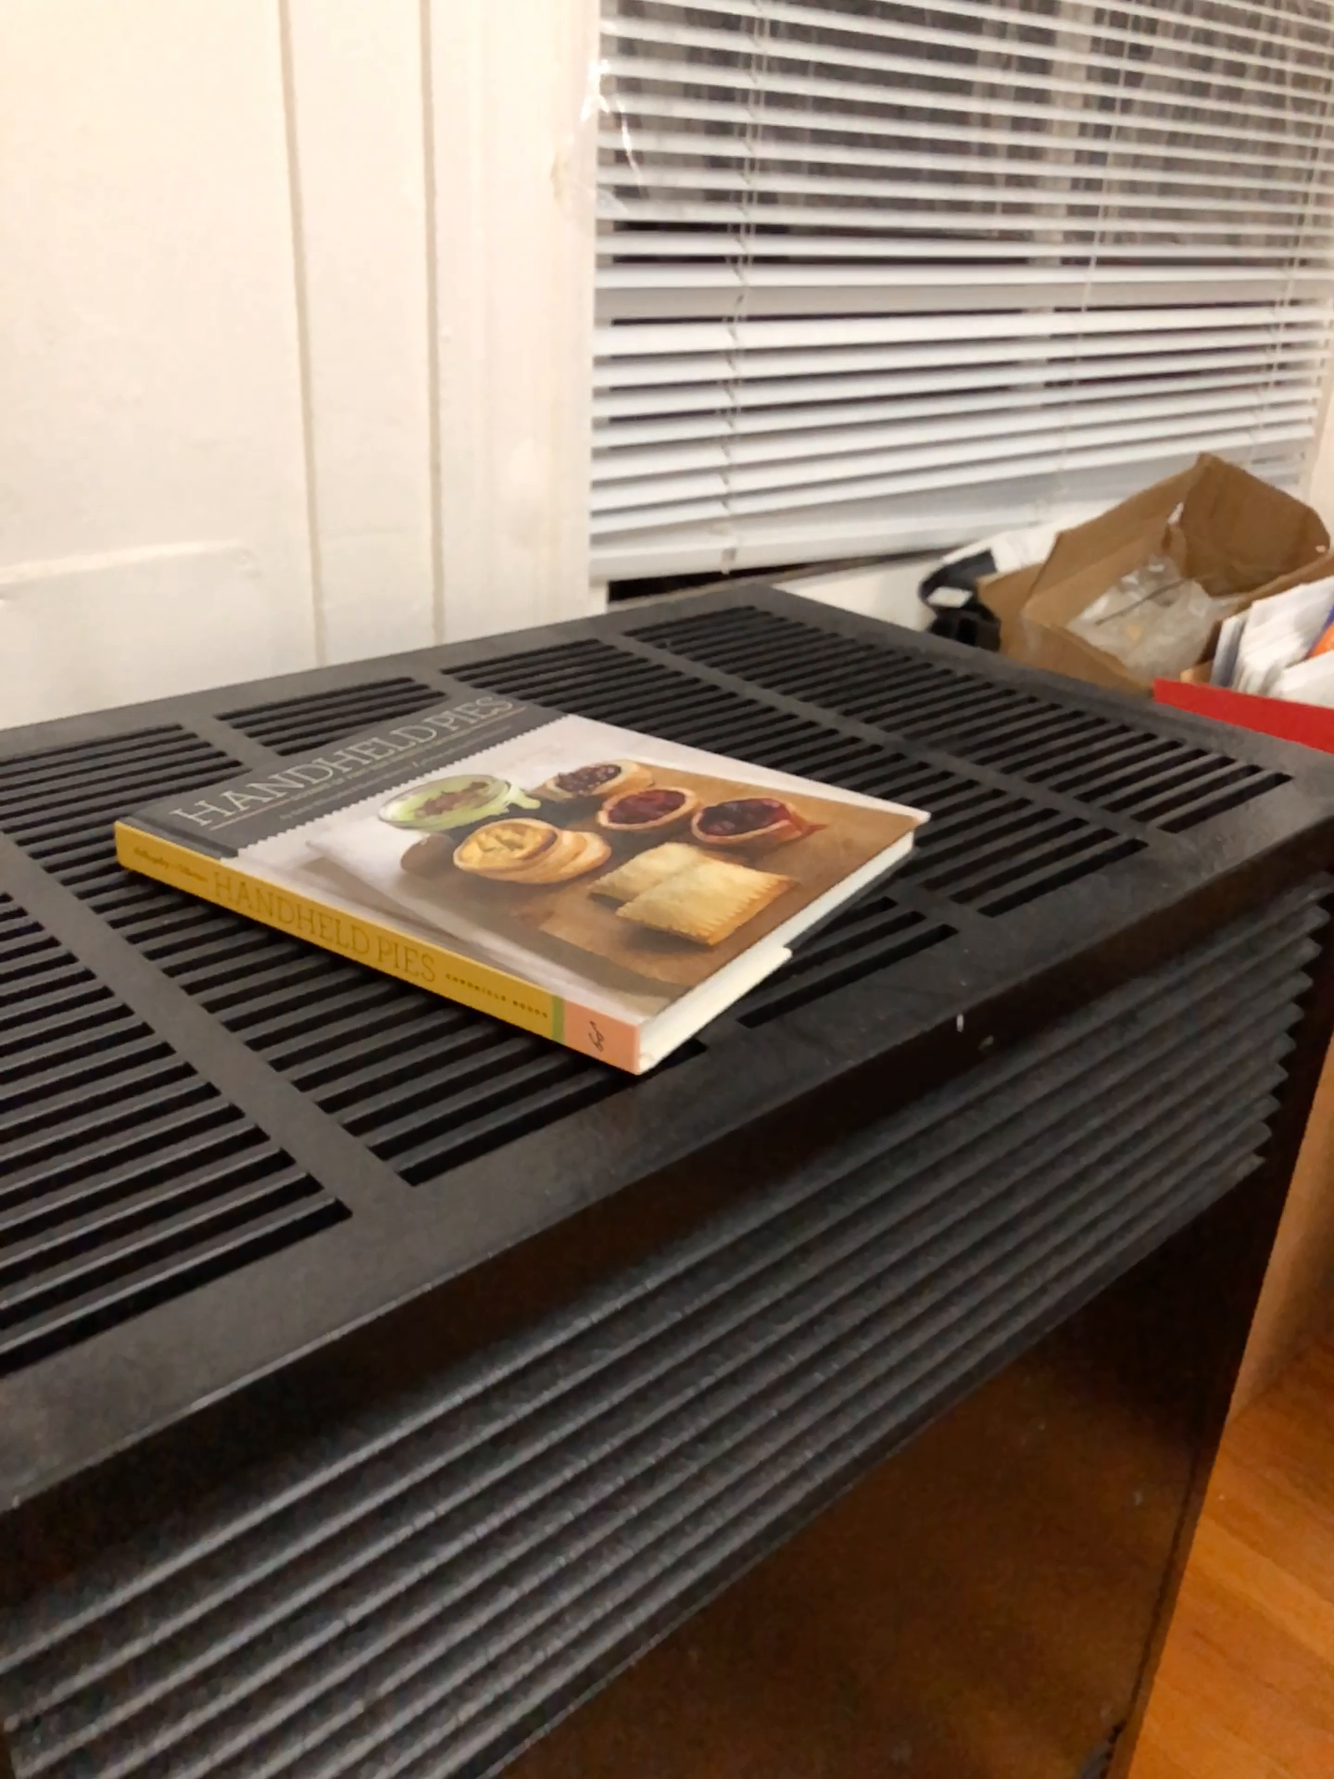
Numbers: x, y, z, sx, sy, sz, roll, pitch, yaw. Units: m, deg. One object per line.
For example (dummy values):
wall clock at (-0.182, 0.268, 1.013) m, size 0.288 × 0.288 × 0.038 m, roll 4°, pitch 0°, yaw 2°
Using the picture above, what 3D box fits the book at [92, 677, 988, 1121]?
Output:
book at (-0.037, -0.016, 0.506) m, size 0.230 × 0.020 × 0.201 m, roll 17°, pitch 30°, yaw 28°
